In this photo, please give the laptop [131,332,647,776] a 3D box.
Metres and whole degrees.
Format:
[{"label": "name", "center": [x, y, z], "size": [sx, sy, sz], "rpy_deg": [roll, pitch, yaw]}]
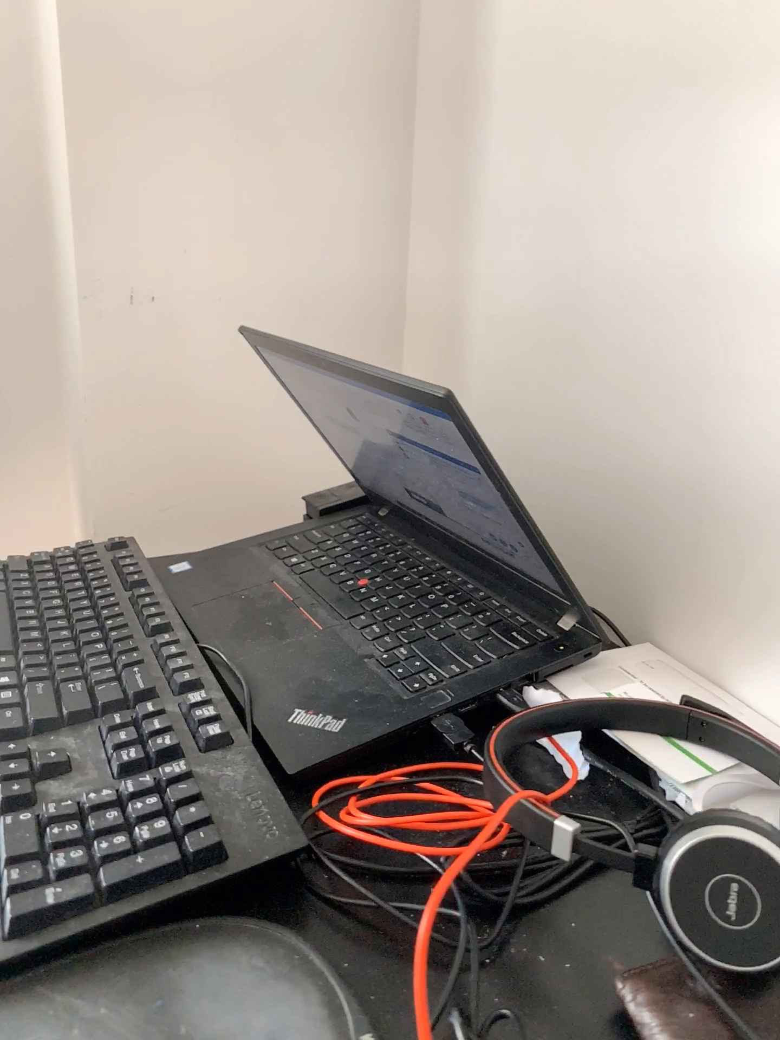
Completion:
[{"label": "laptop", "center": [-0.033, -0.019, 0.604], "size": [0.236, 0.172, 0.335], "rpy_deg": [-13, 23, -26]}]
